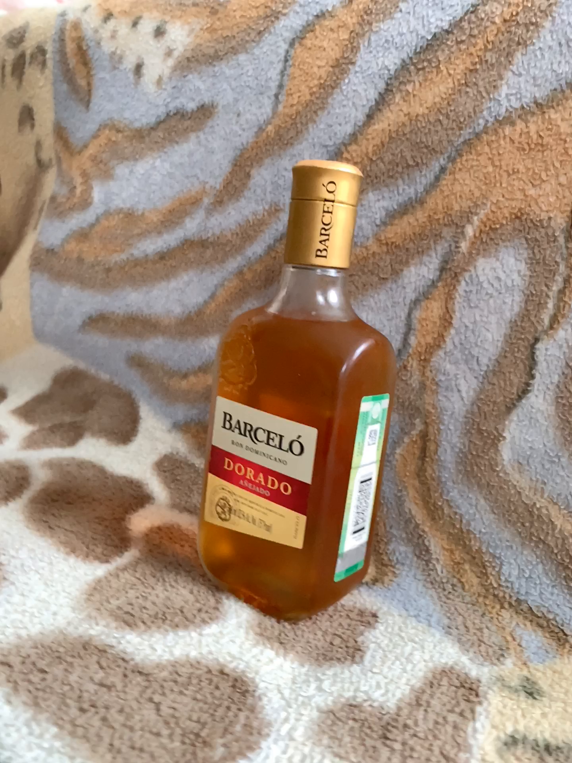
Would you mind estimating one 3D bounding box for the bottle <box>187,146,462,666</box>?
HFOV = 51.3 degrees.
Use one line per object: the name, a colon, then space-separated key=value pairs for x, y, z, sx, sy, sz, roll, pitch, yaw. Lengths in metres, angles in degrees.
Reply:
bottle: x=0.015 y=0.006 z=0.298 sx=0.090 sy=0.219 sz=0.070 roll=13 pitch=13 yaw=35
